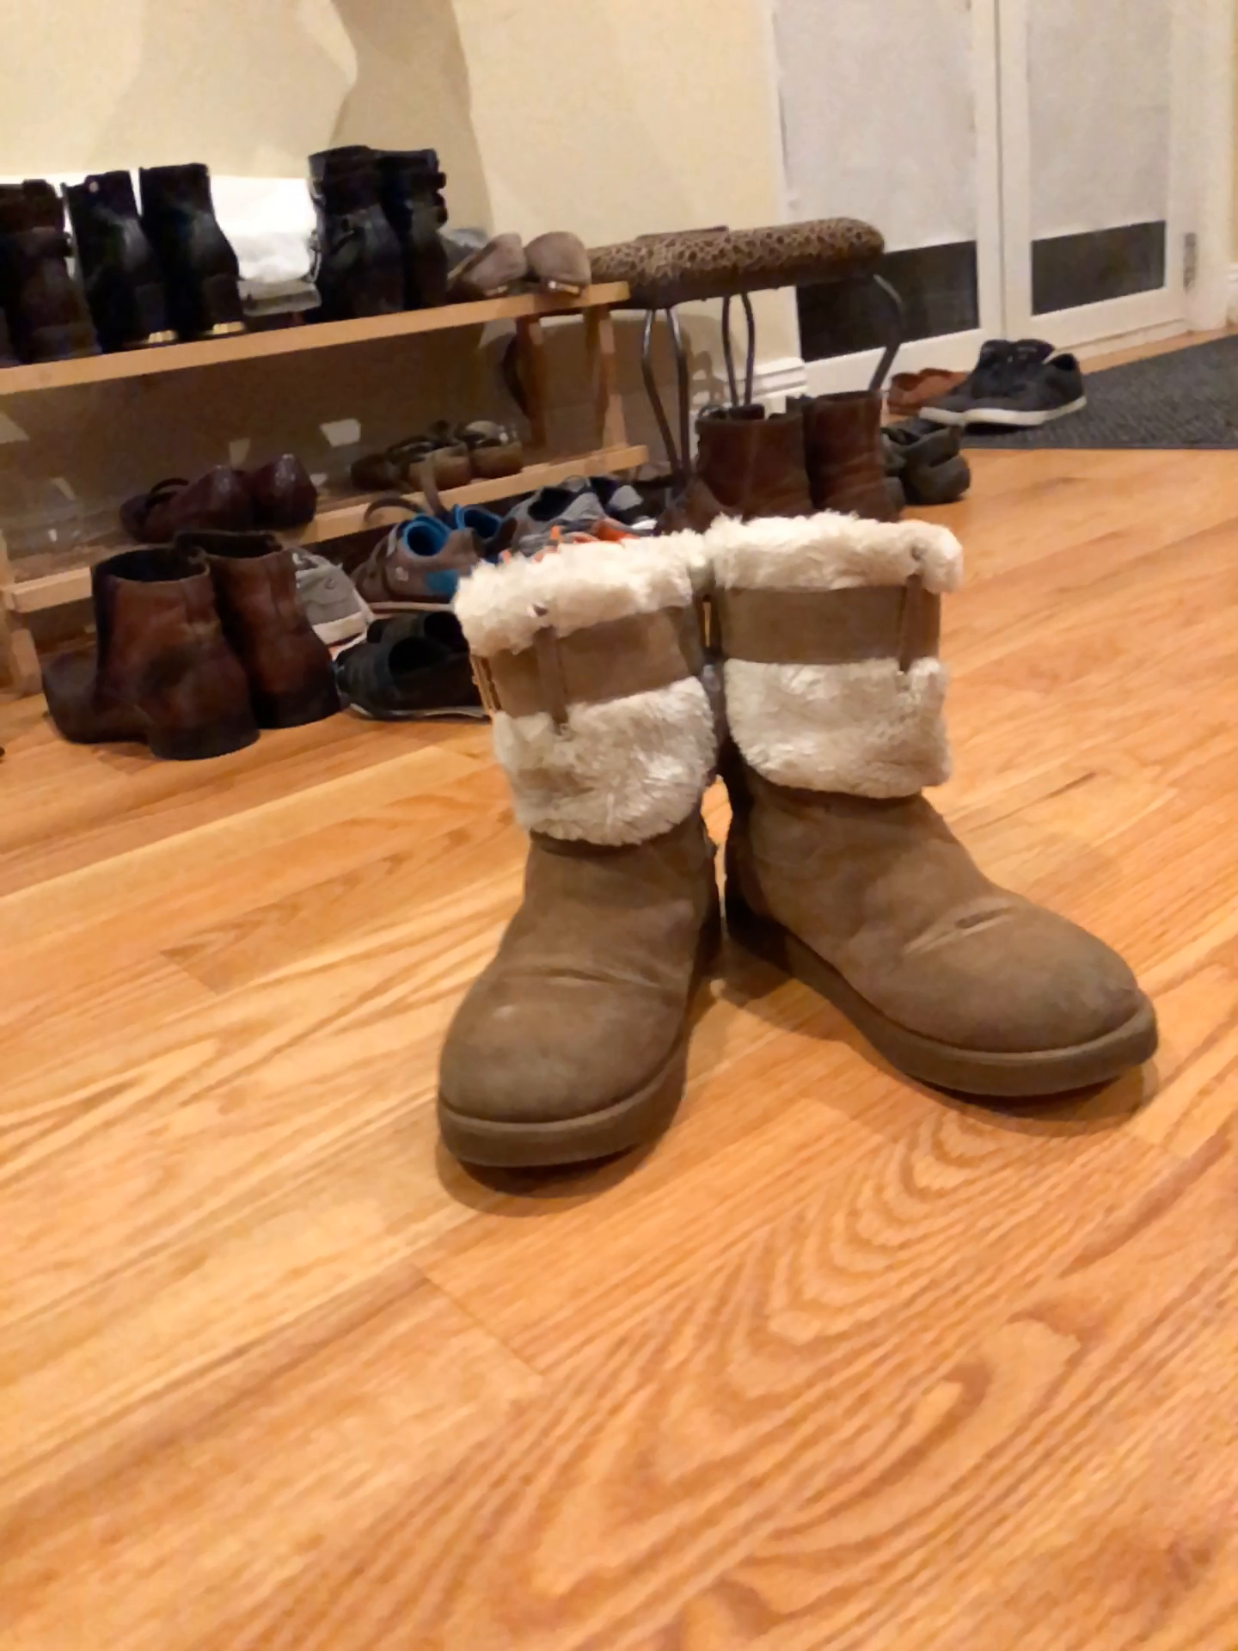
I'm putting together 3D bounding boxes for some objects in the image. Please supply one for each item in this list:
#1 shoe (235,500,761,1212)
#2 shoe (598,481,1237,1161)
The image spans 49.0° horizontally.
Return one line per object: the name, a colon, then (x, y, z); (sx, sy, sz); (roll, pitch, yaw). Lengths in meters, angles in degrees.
shoe: (-0.023, -0.007, 0.549); (0.106, 0.193, 0.255); (-2, 22, 16)
shoe: (0.110, -0.026, 0.555); (0.113, 0.193, 0.255); (-17, 22, -22)
